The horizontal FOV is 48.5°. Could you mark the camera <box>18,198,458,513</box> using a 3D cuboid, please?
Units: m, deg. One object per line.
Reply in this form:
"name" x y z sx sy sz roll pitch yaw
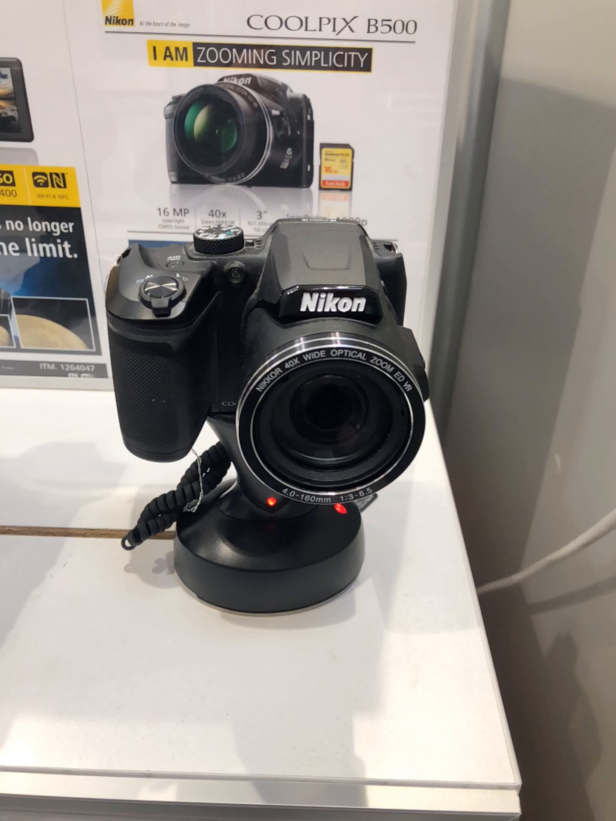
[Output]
"camera" -0.021 -0.024 0.246 0.120 0.079 0.091 0 31 -2
